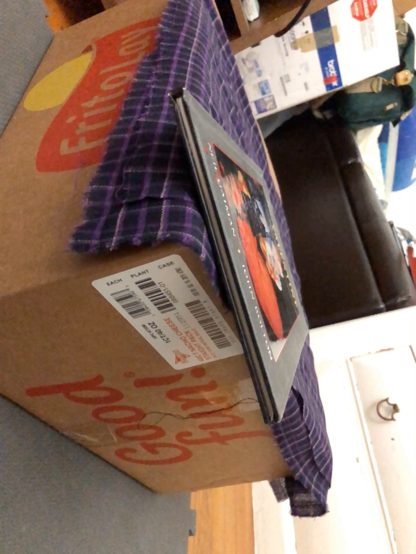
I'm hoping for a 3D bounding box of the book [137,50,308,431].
[{"bbox_3d":[0.036,-0.027,0.352,0.281,0.020,0.180,-17,91,-75],"label":"book"}]
